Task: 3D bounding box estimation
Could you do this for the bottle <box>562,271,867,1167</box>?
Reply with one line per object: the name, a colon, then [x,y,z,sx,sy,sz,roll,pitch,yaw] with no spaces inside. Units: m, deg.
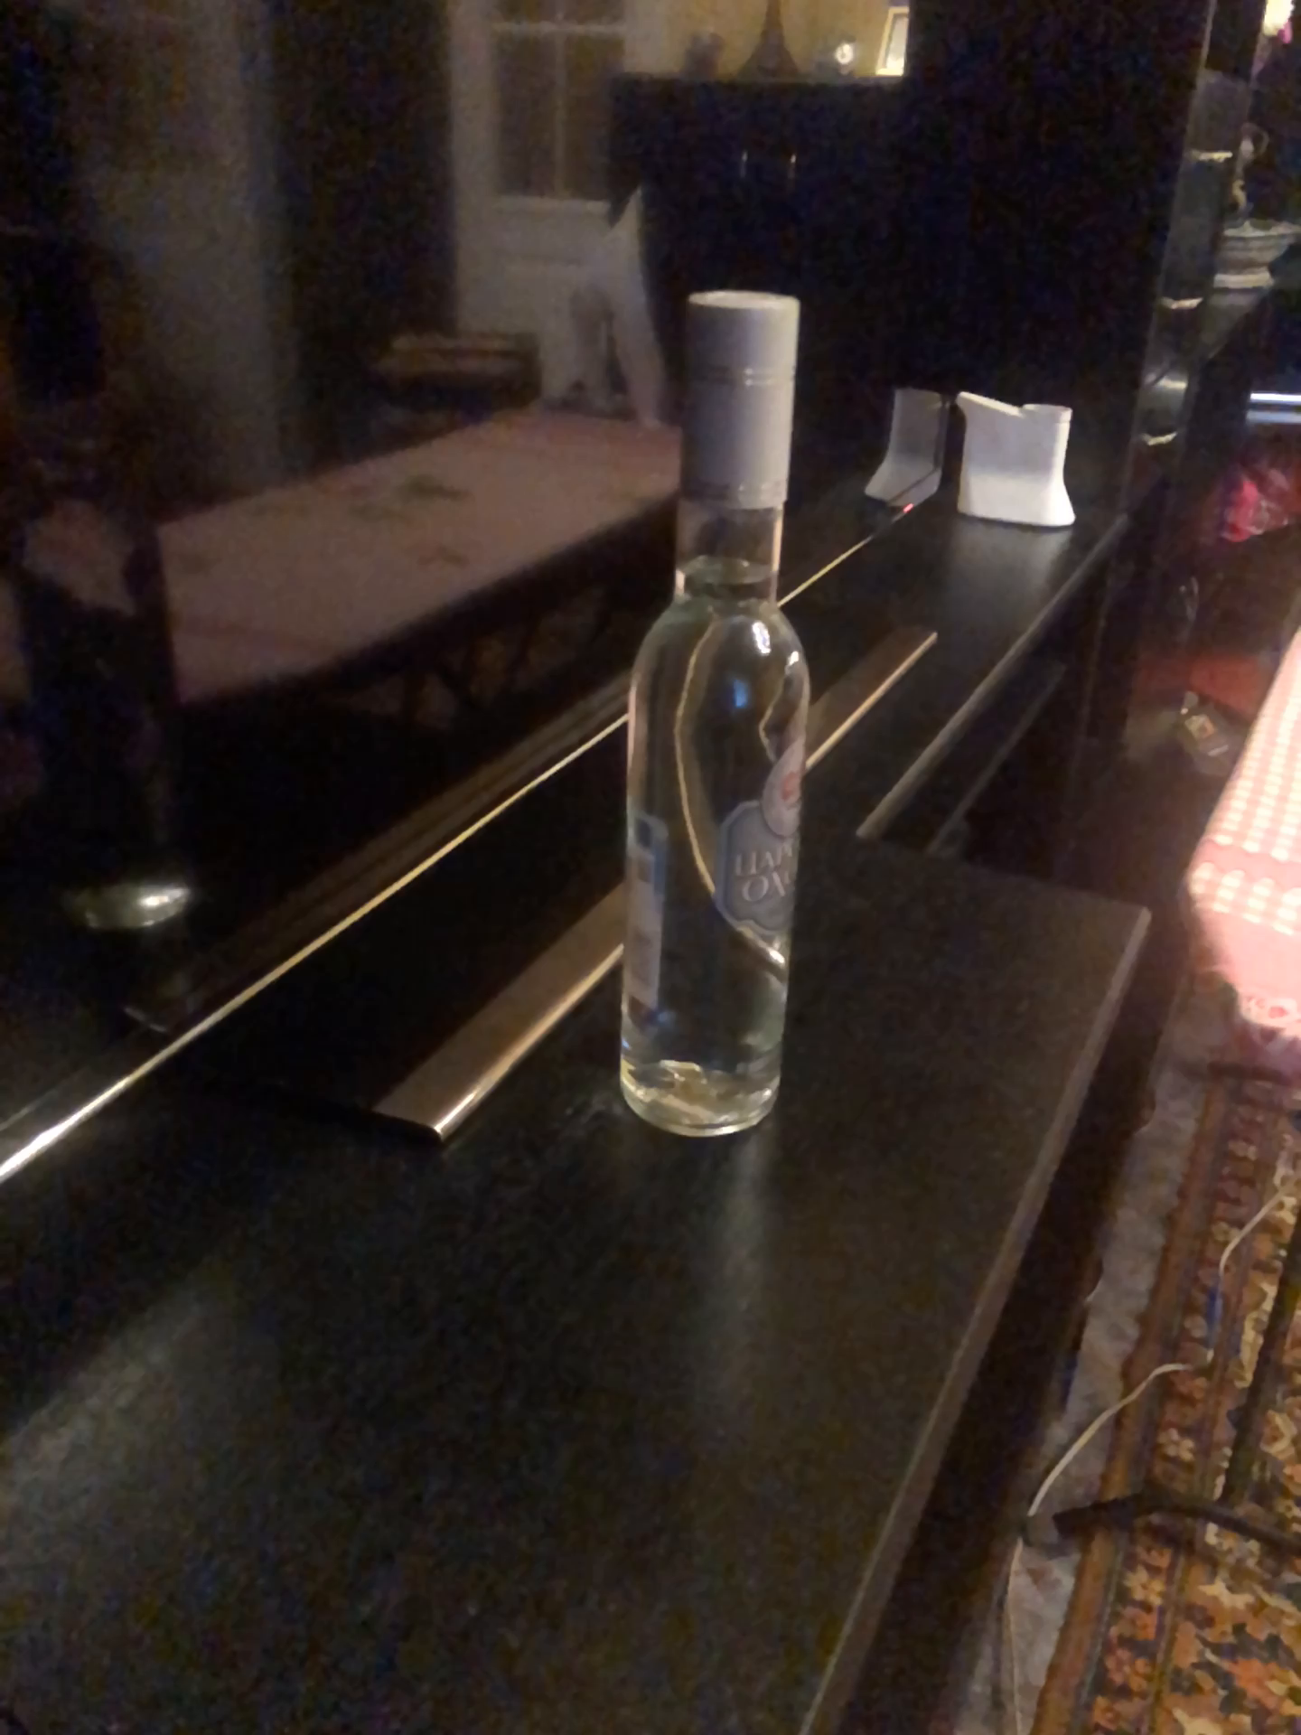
bottle: [0.017,-0.041,0.485,0.067,0.290,0.065,1,28,-1]
